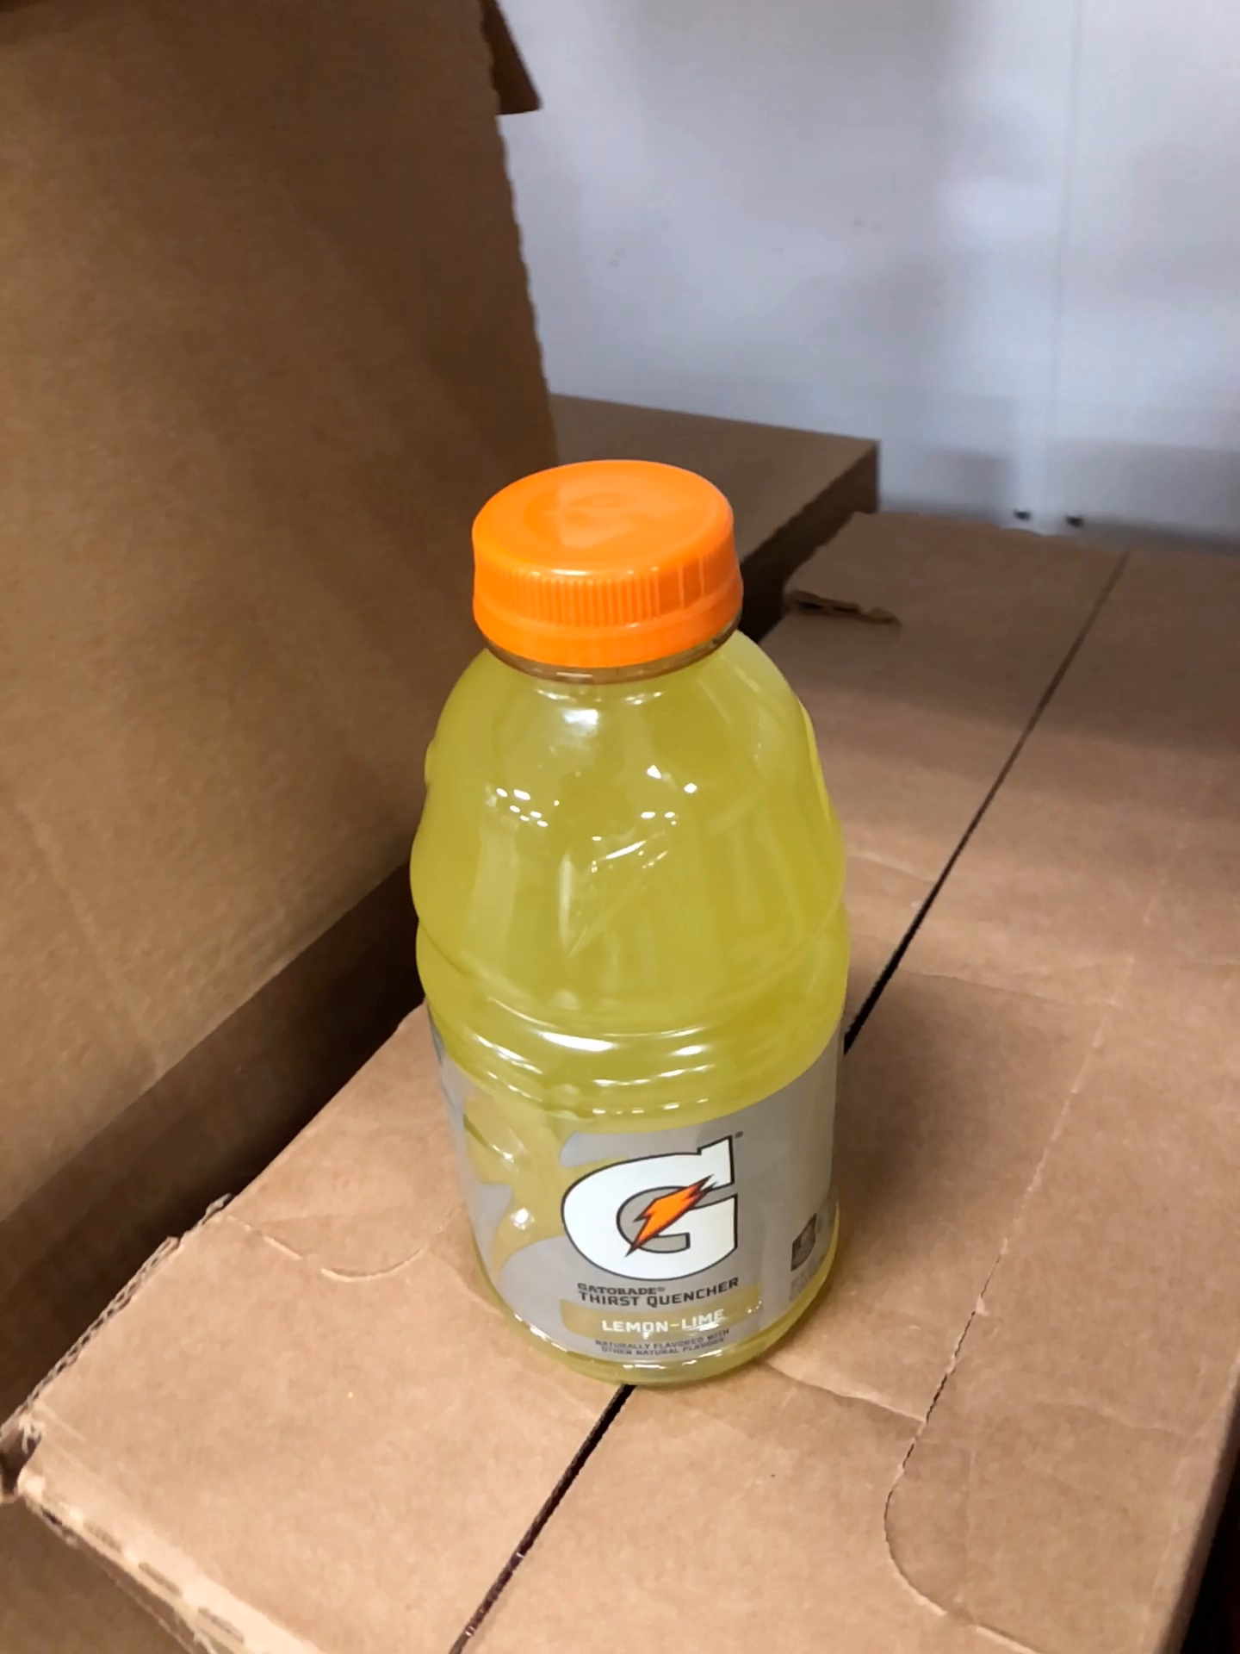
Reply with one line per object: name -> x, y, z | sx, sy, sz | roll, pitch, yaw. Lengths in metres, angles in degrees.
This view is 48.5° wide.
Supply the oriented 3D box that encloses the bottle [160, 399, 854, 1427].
bottle -> -0.007, 0.031, 0.301 | 0.100, 0.209, 0.090 | -5, 38, 4
